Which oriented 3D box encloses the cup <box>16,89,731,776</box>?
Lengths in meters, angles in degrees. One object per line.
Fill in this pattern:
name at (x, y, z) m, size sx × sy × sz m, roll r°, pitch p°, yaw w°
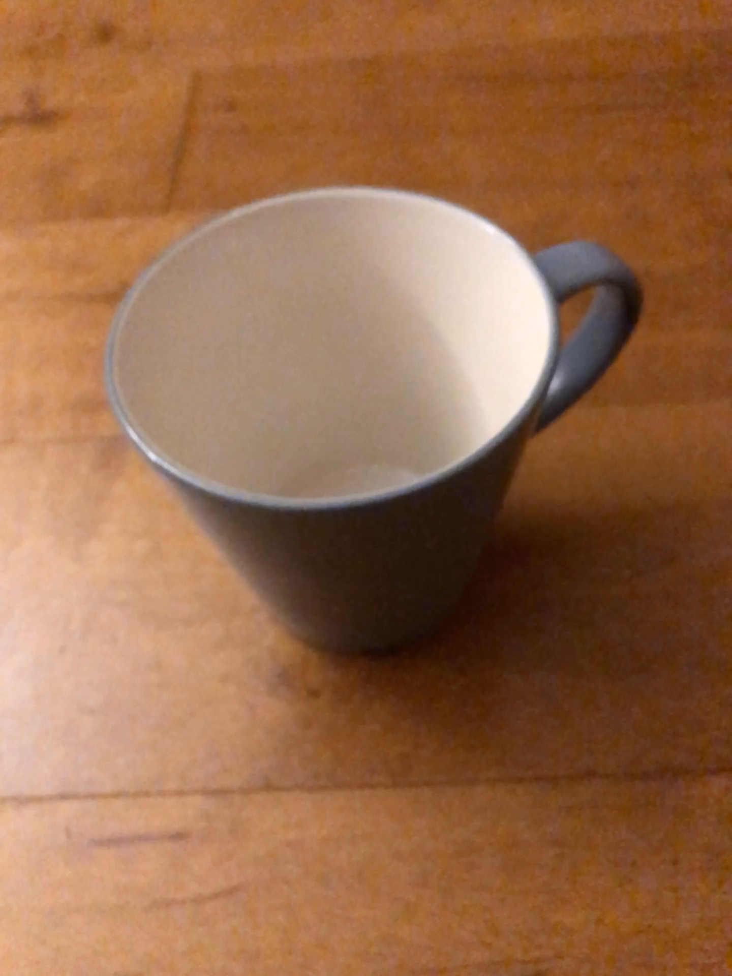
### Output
cup at (0.005, -0.016, 0.224) m, size 0.140 × 0.099 × 0.101 m, roll -24°, pitch 55°, yaw -11°
